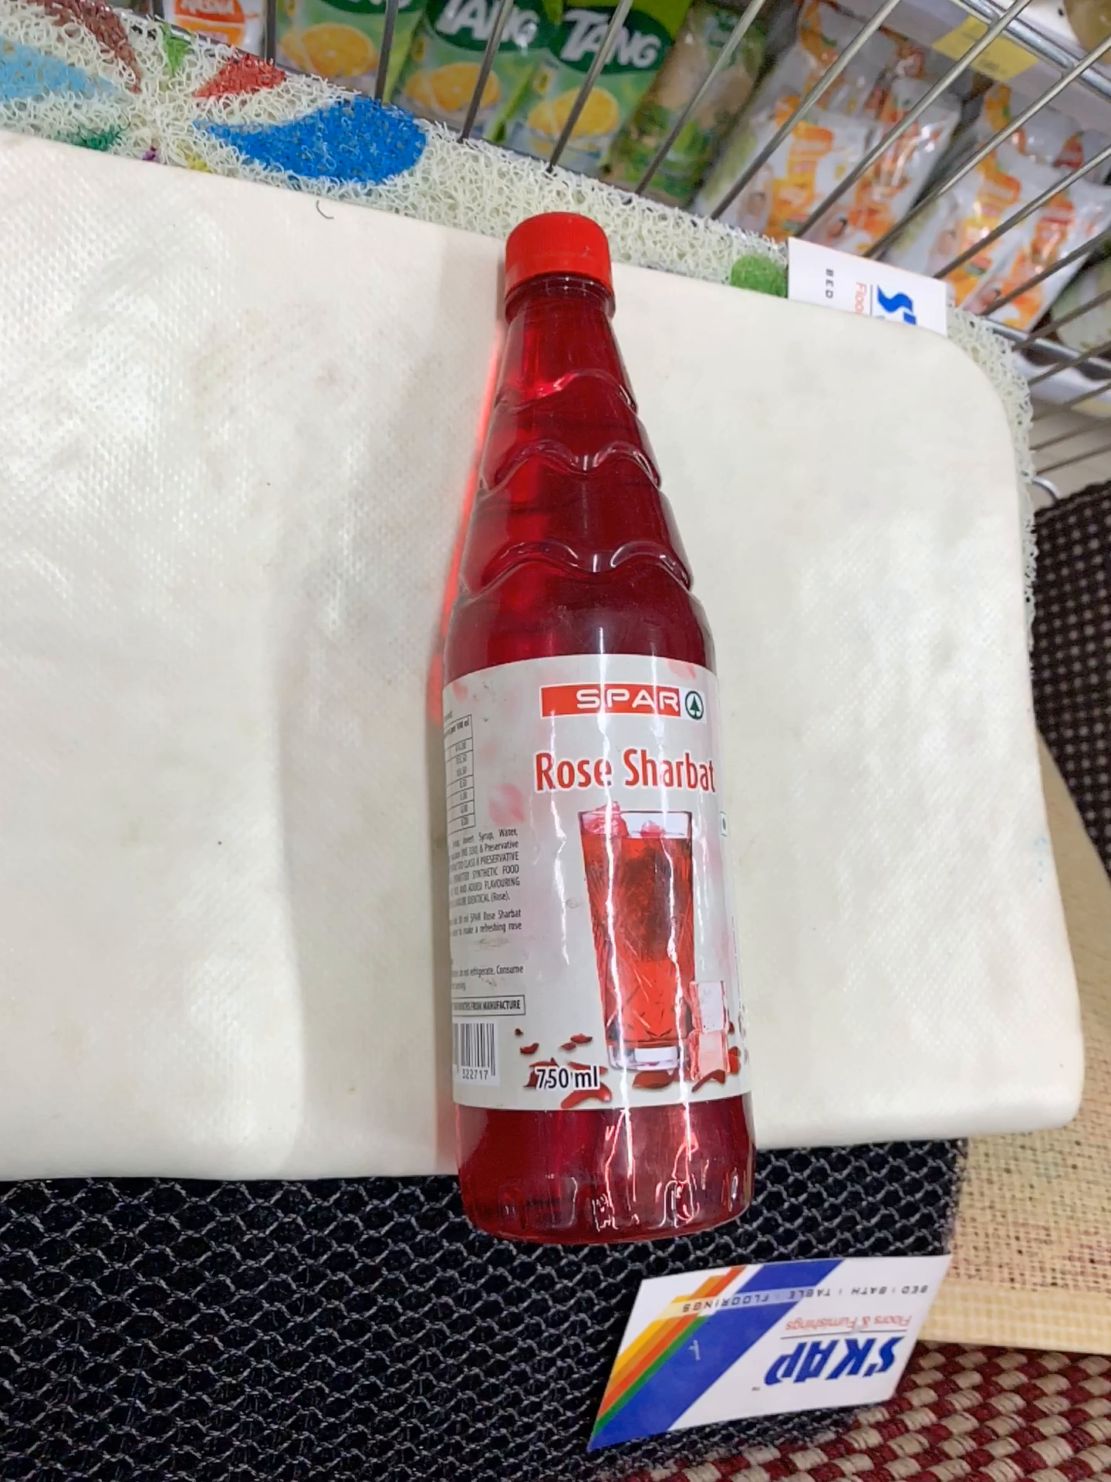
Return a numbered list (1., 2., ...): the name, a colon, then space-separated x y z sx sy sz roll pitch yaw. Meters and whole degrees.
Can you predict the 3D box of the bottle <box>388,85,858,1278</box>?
1. bottle: 0.007 -0.015 0.259 0.070 0.070 0.230 1 78 -20
